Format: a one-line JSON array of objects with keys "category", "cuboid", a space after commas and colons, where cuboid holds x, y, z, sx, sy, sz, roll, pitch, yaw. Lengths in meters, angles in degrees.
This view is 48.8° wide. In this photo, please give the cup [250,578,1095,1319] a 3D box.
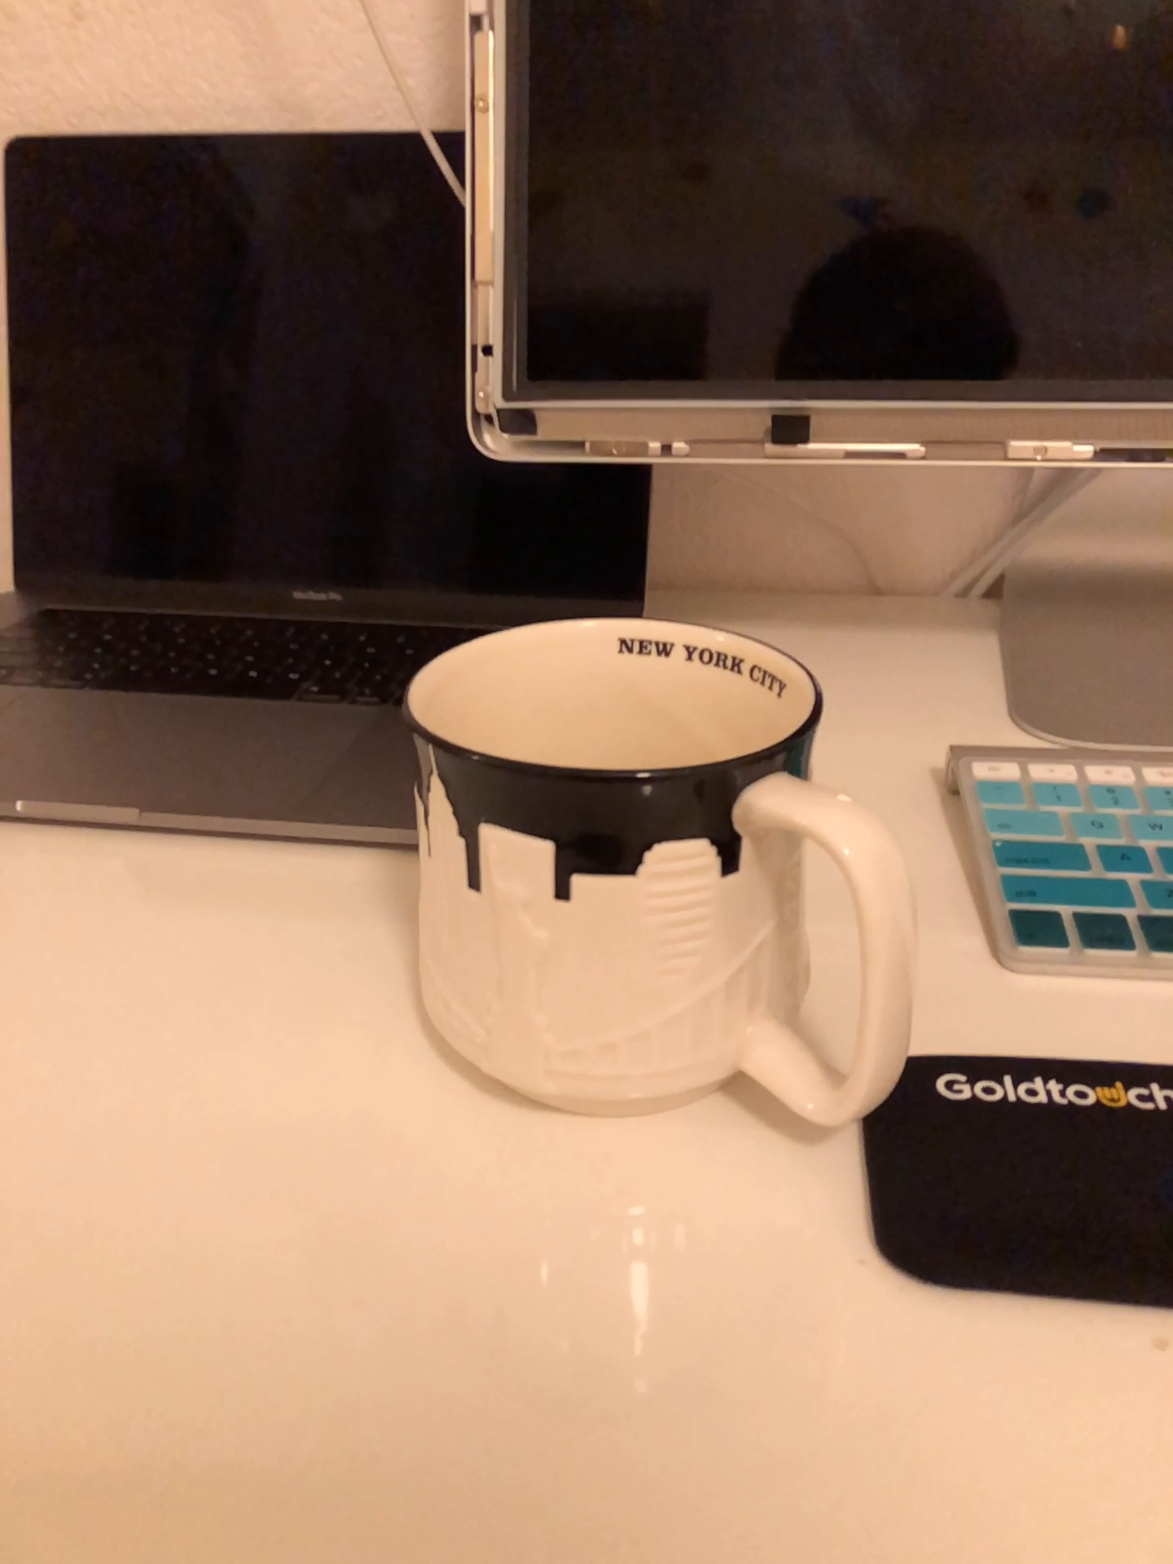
[{"category": "cup", "cuboid": [0.016, 0.022, 0.316, 0.160, 0.090, 0.110, 22, 34, 38]}]
